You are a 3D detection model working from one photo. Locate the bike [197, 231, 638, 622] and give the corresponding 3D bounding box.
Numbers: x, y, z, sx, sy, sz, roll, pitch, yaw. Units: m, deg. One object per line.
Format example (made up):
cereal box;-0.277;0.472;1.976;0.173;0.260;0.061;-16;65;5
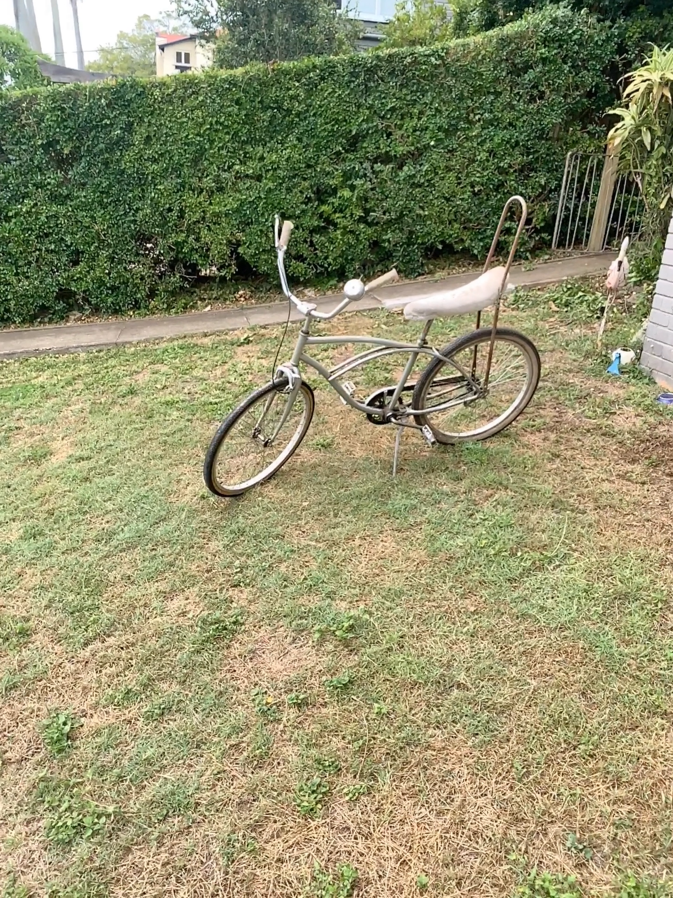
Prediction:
bike;0.259;-0.210;2.948;1.600;0.991;0.804;-14;26;-18
